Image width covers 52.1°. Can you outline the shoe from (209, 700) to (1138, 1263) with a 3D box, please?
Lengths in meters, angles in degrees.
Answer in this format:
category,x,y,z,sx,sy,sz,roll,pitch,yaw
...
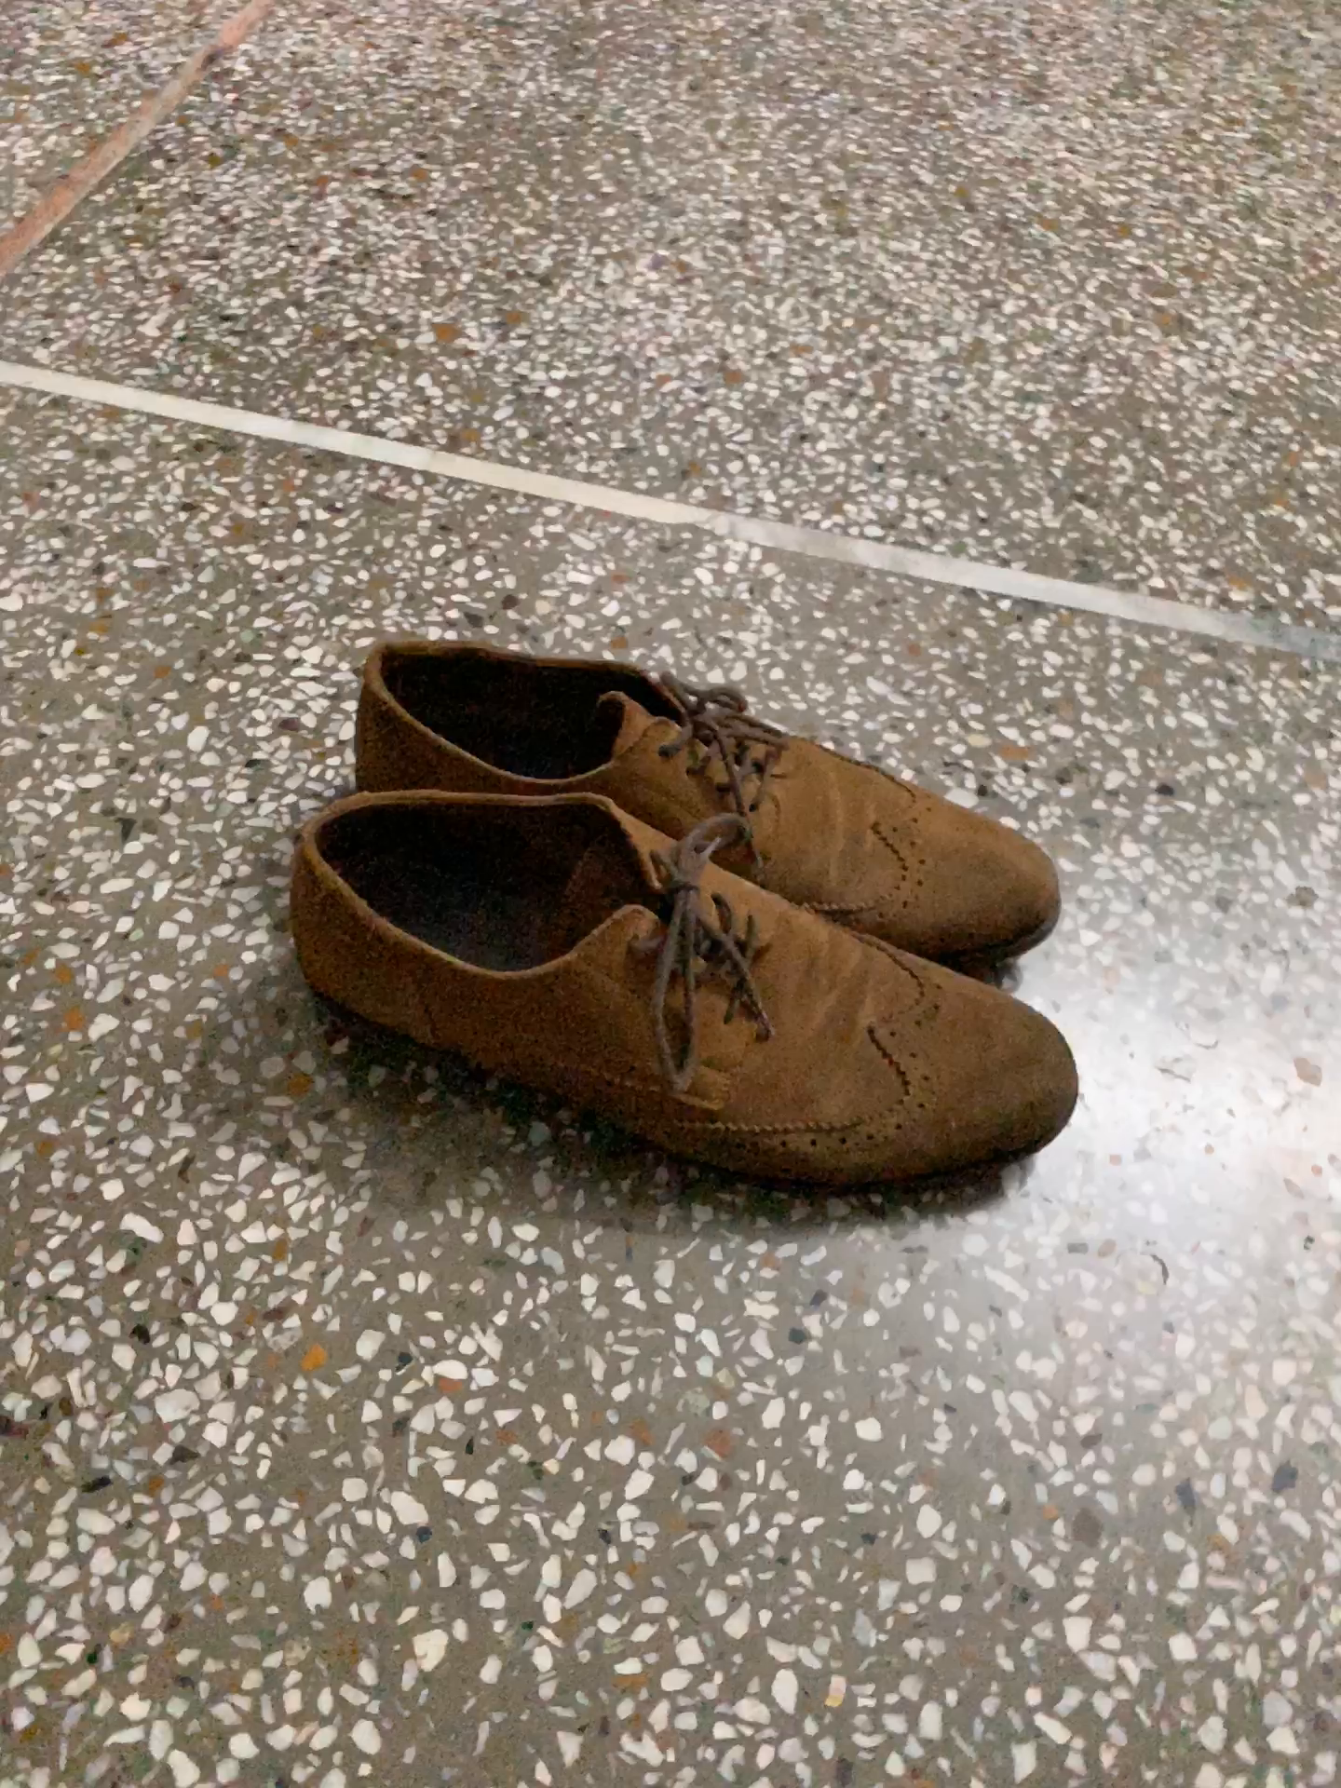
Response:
category,x,y,z,sx,sy,sz,roll,pitch,yaw
shoe,0.002,0.034,0.522,0.310,0.110,0.100,14,55,4

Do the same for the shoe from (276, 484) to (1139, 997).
category,x,y,z,sx,sy,sz,roll,pitch,yaw
shoe,0.016,-0.061,0.556,0.310,0.110,0.100,12,54,3
